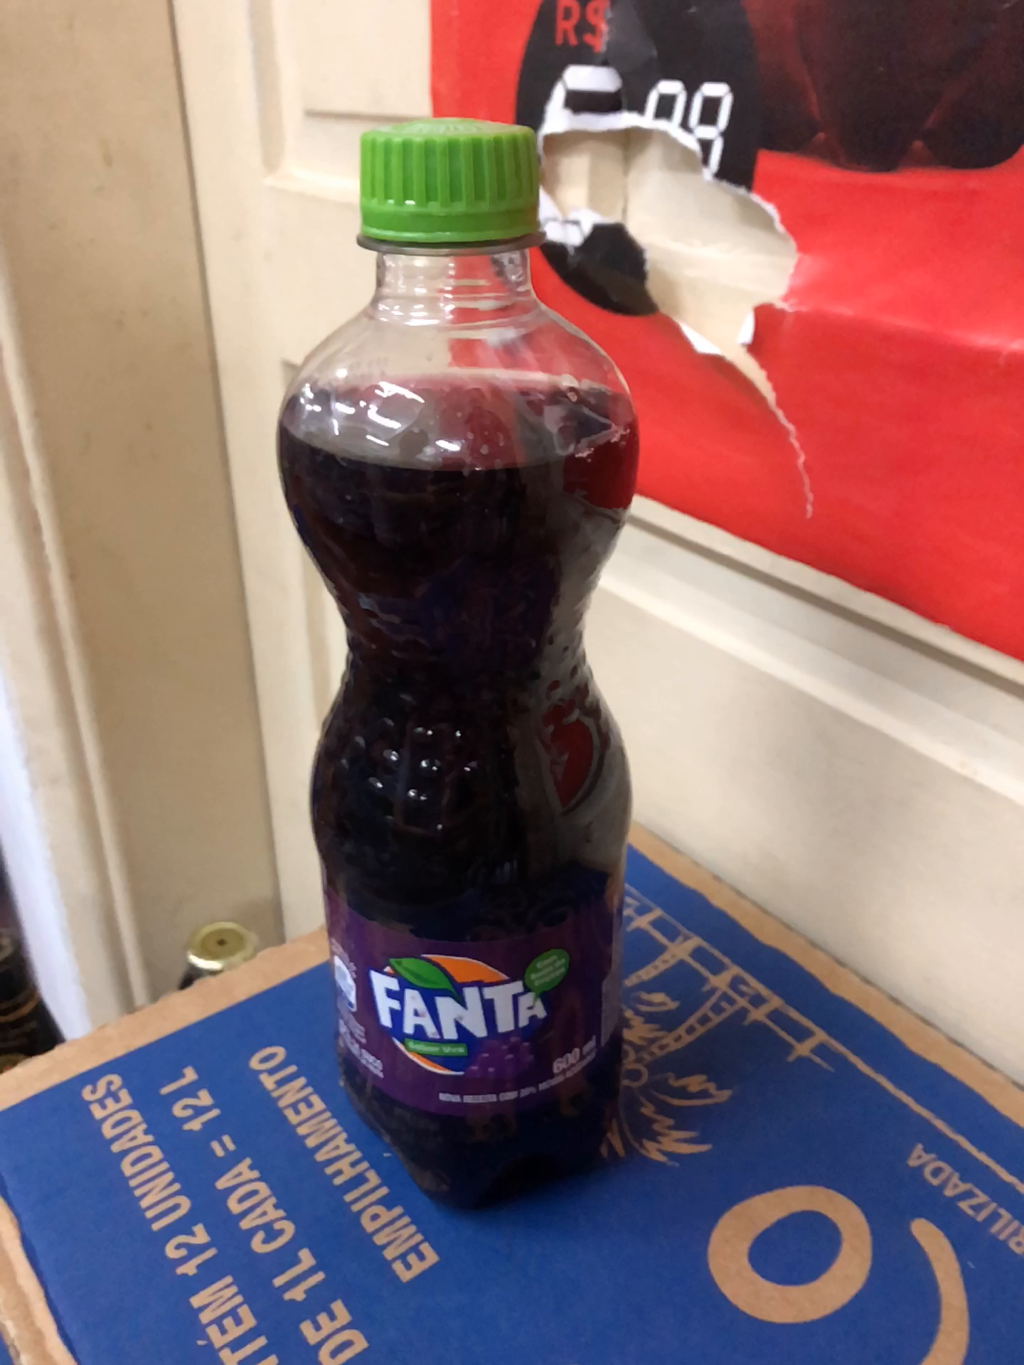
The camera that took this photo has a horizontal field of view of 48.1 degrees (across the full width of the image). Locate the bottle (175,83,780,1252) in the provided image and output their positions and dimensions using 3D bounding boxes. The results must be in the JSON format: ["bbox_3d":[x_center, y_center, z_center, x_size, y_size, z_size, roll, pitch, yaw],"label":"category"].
[{"bbox_3d":[-0.003,0.007,0.235,0.080,0.228,0.071,3,28,5],"label":"bottle"}]
